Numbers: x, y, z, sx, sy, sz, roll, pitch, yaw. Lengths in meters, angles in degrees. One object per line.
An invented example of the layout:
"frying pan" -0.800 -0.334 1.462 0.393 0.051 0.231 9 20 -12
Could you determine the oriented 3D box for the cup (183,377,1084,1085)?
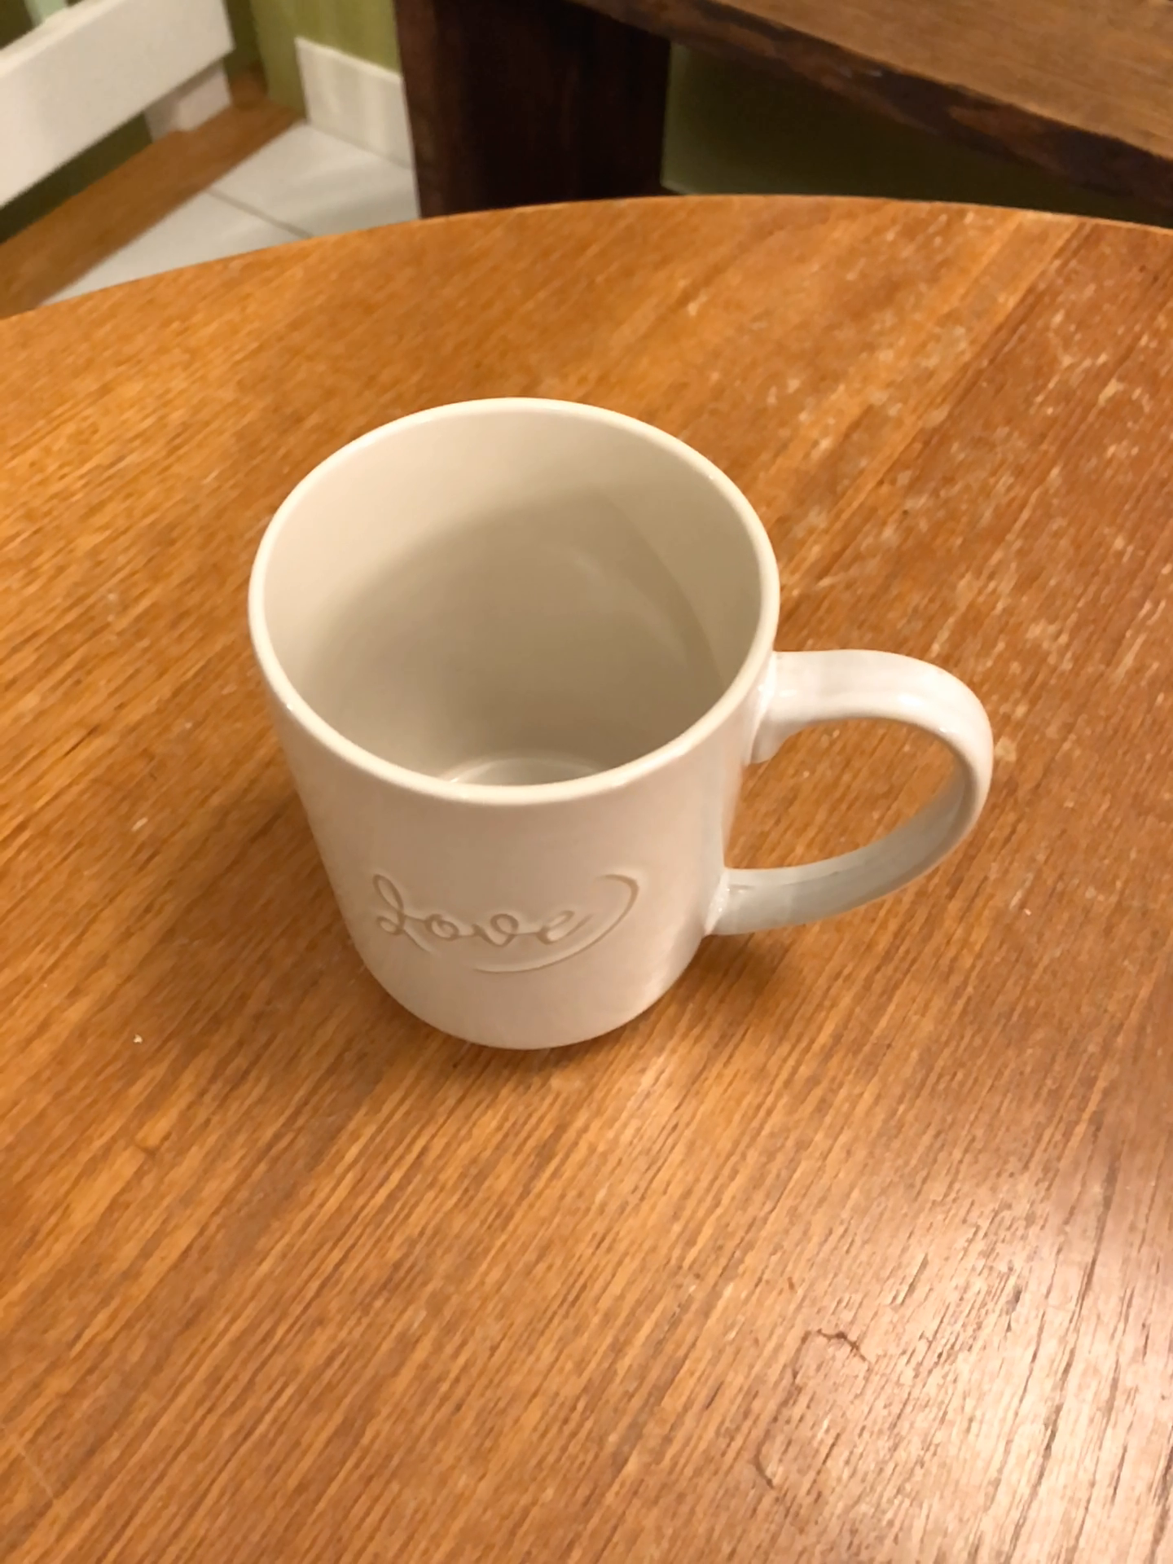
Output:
"cup" 0.006 -0.003 0.271 0.134 0.124 0.092 -1 57 -1
